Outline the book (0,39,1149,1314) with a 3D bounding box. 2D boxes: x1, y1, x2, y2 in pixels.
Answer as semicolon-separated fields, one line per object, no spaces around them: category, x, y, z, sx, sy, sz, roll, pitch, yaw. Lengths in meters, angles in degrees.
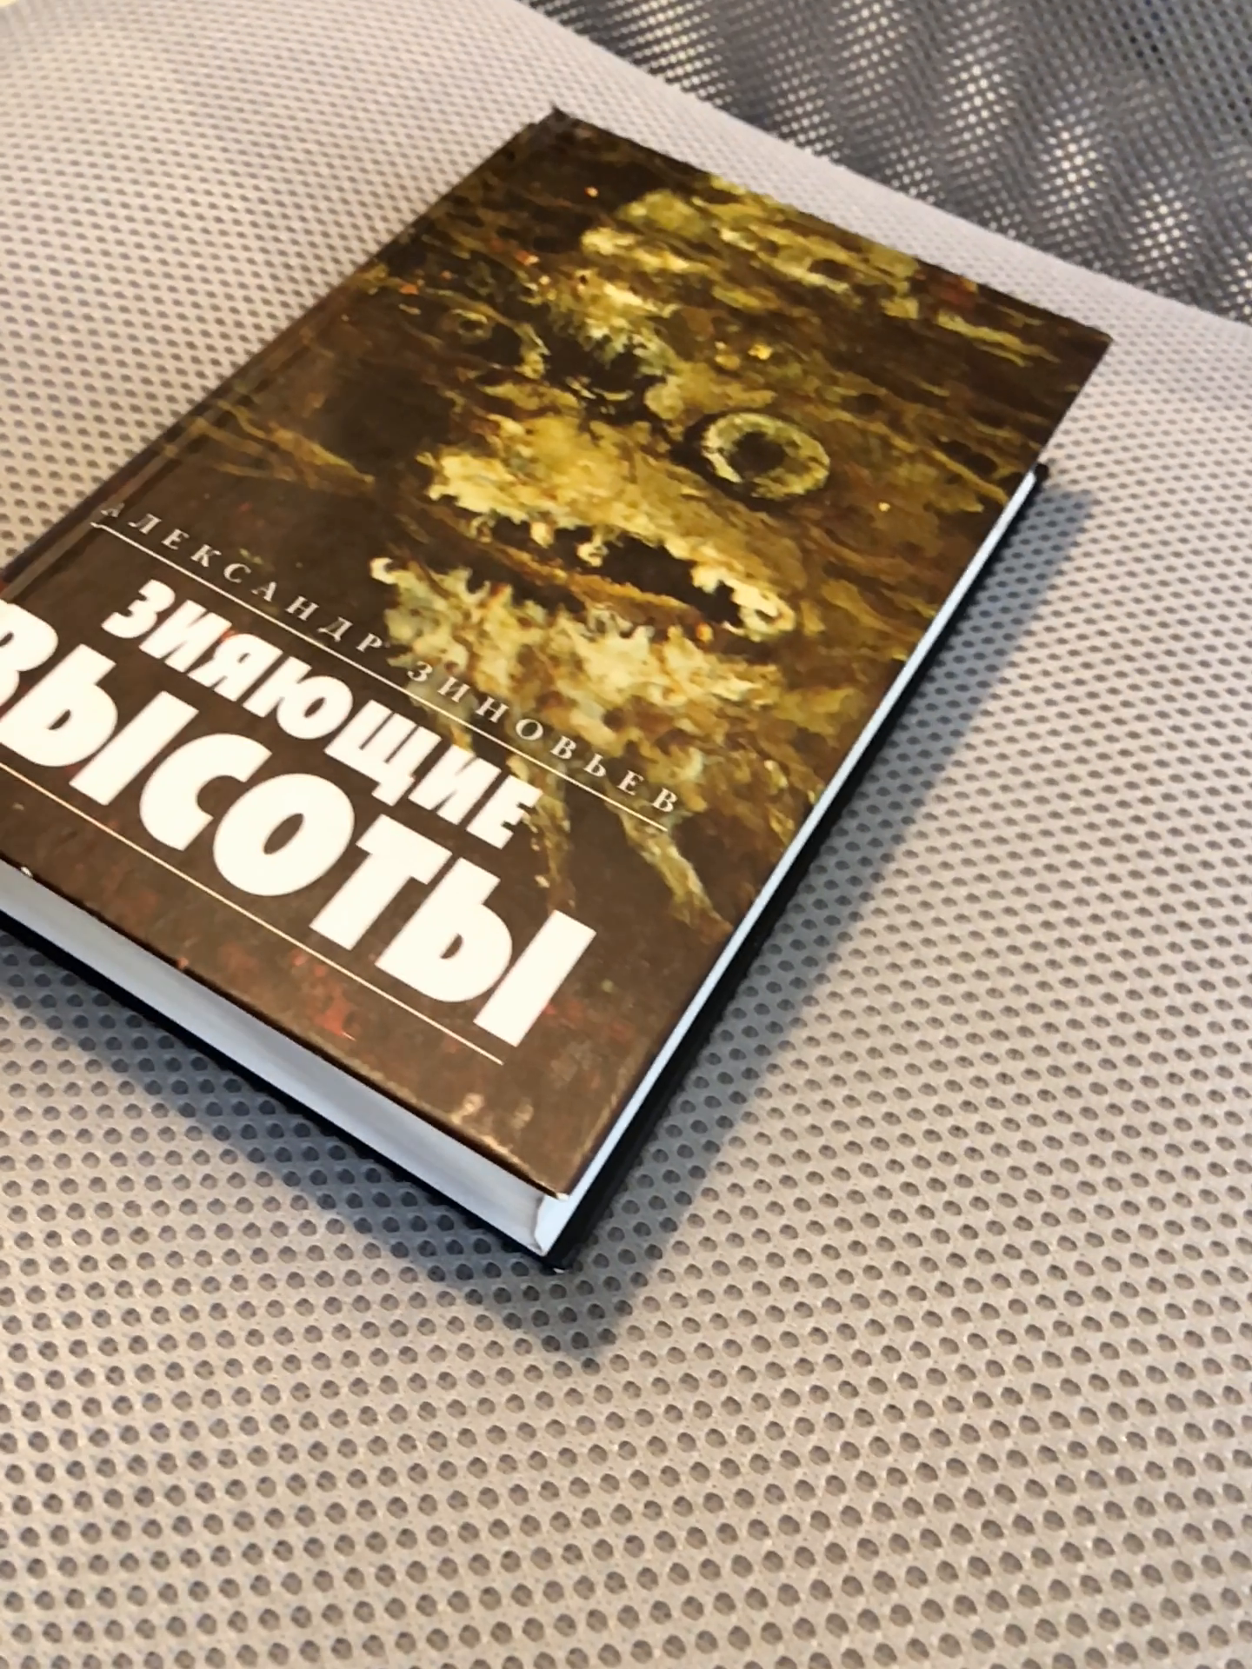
book;-0.016;-0.044;0.240;0.140;0.040;0.191;28;65;12
